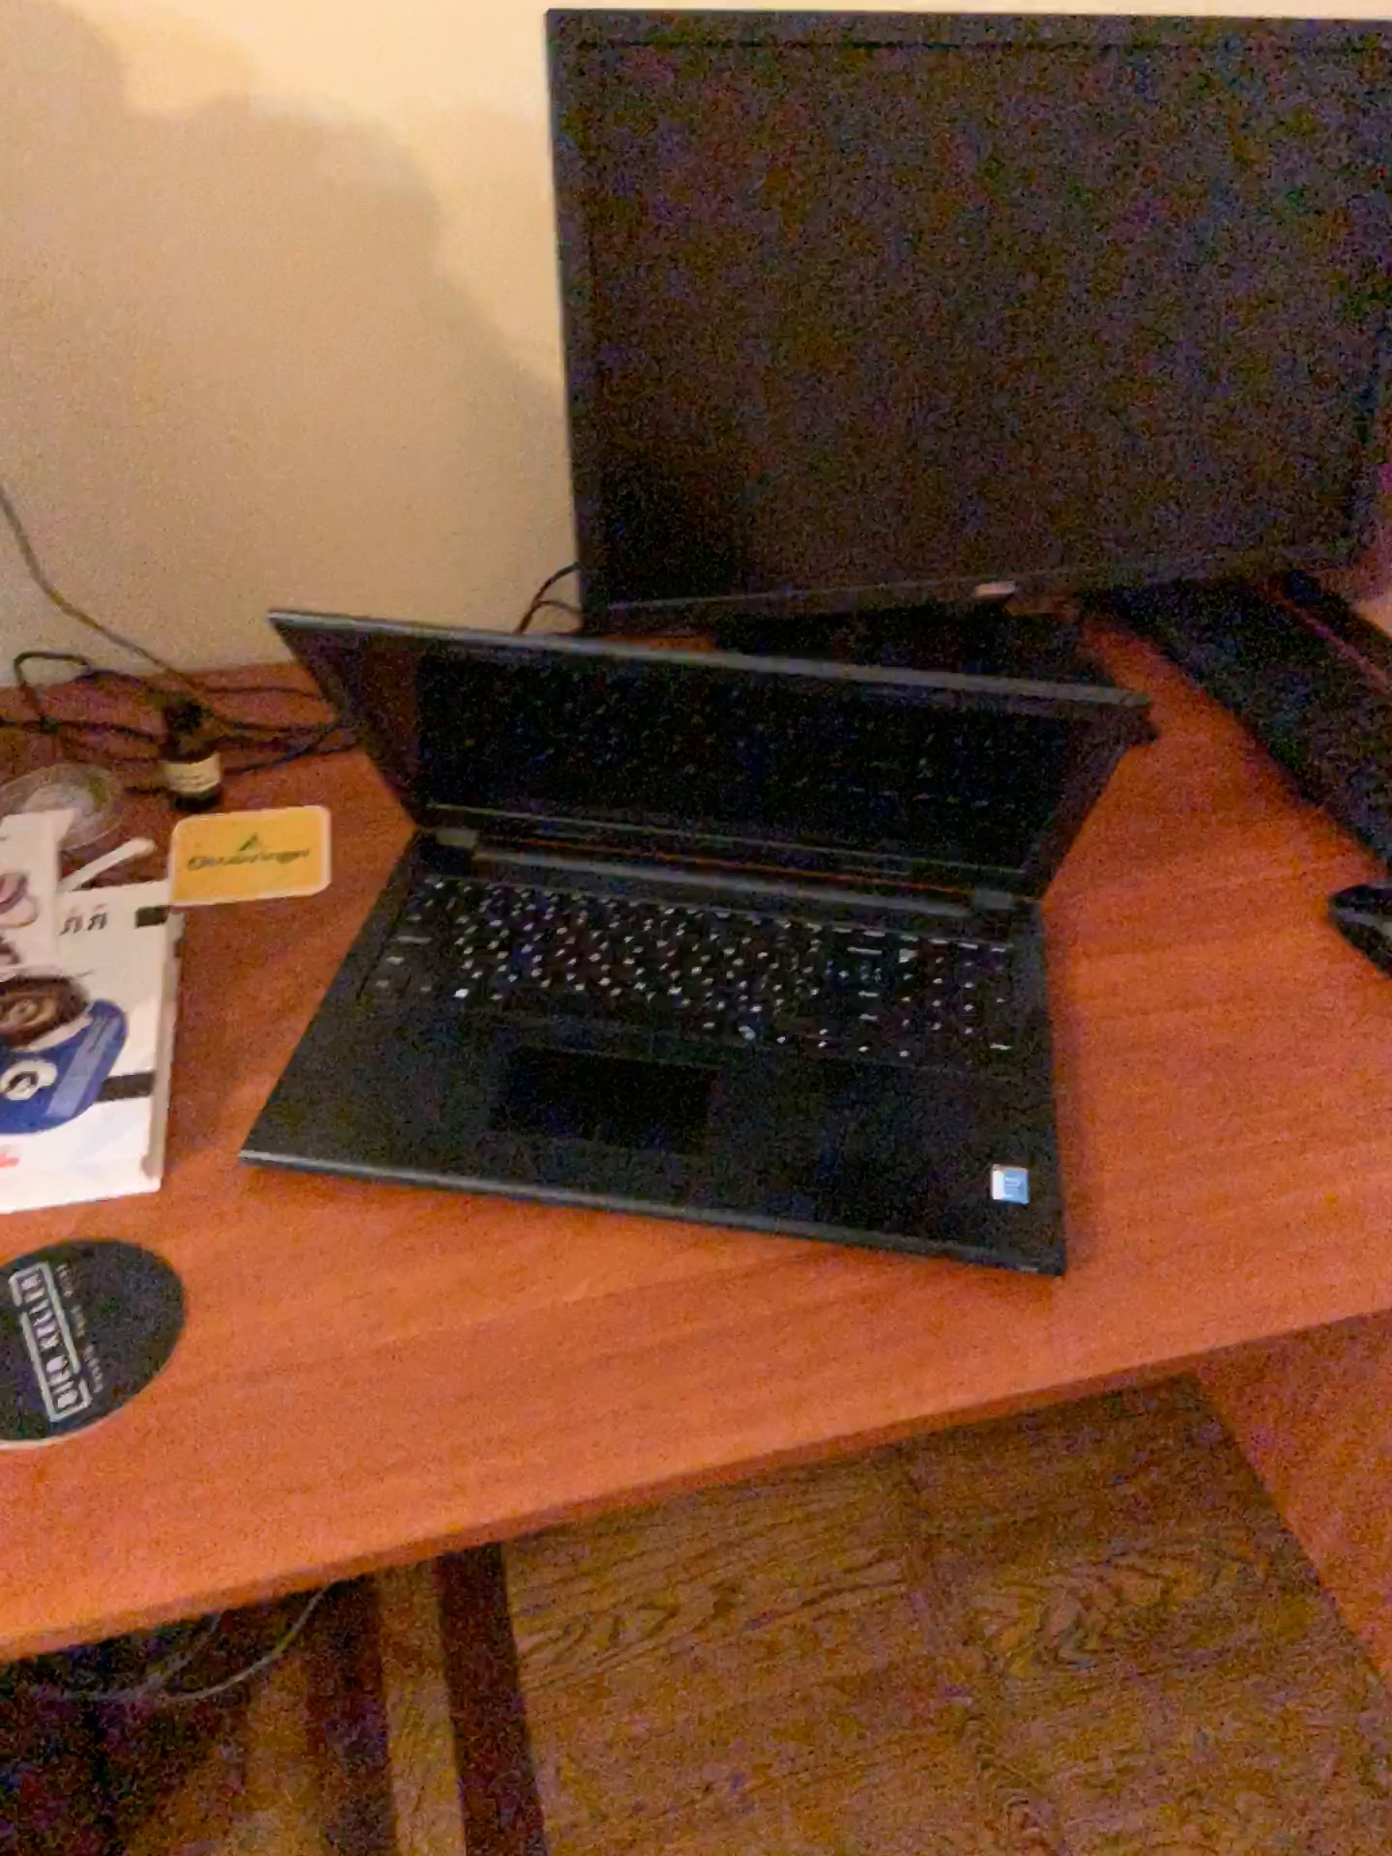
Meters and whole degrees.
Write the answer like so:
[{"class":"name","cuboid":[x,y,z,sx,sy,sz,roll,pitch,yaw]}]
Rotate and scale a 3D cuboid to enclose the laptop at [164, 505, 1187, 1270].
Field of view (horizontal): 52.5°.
[{"class":"laptop","cuboid":[0.000,-0.031,0.664,0.373,0.202,0.247,7,40,5]}]
